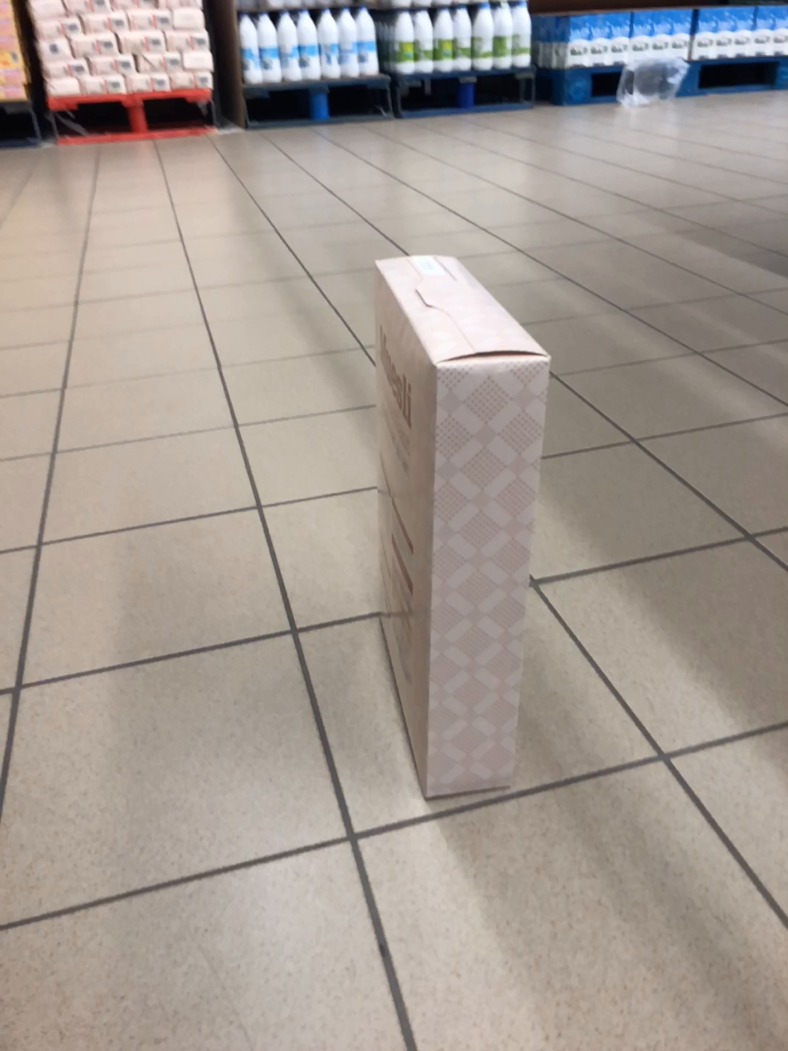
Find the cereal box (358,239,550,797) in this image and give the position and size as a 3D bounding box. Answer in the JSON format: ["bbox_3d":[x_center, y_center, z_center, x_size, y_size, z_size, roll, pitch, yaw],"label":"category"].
[{"bbox_3d":[0.022,-0.013,0.520,0.060,0.268,0.201,-4,30,-8],"label":"cereal box"}]
